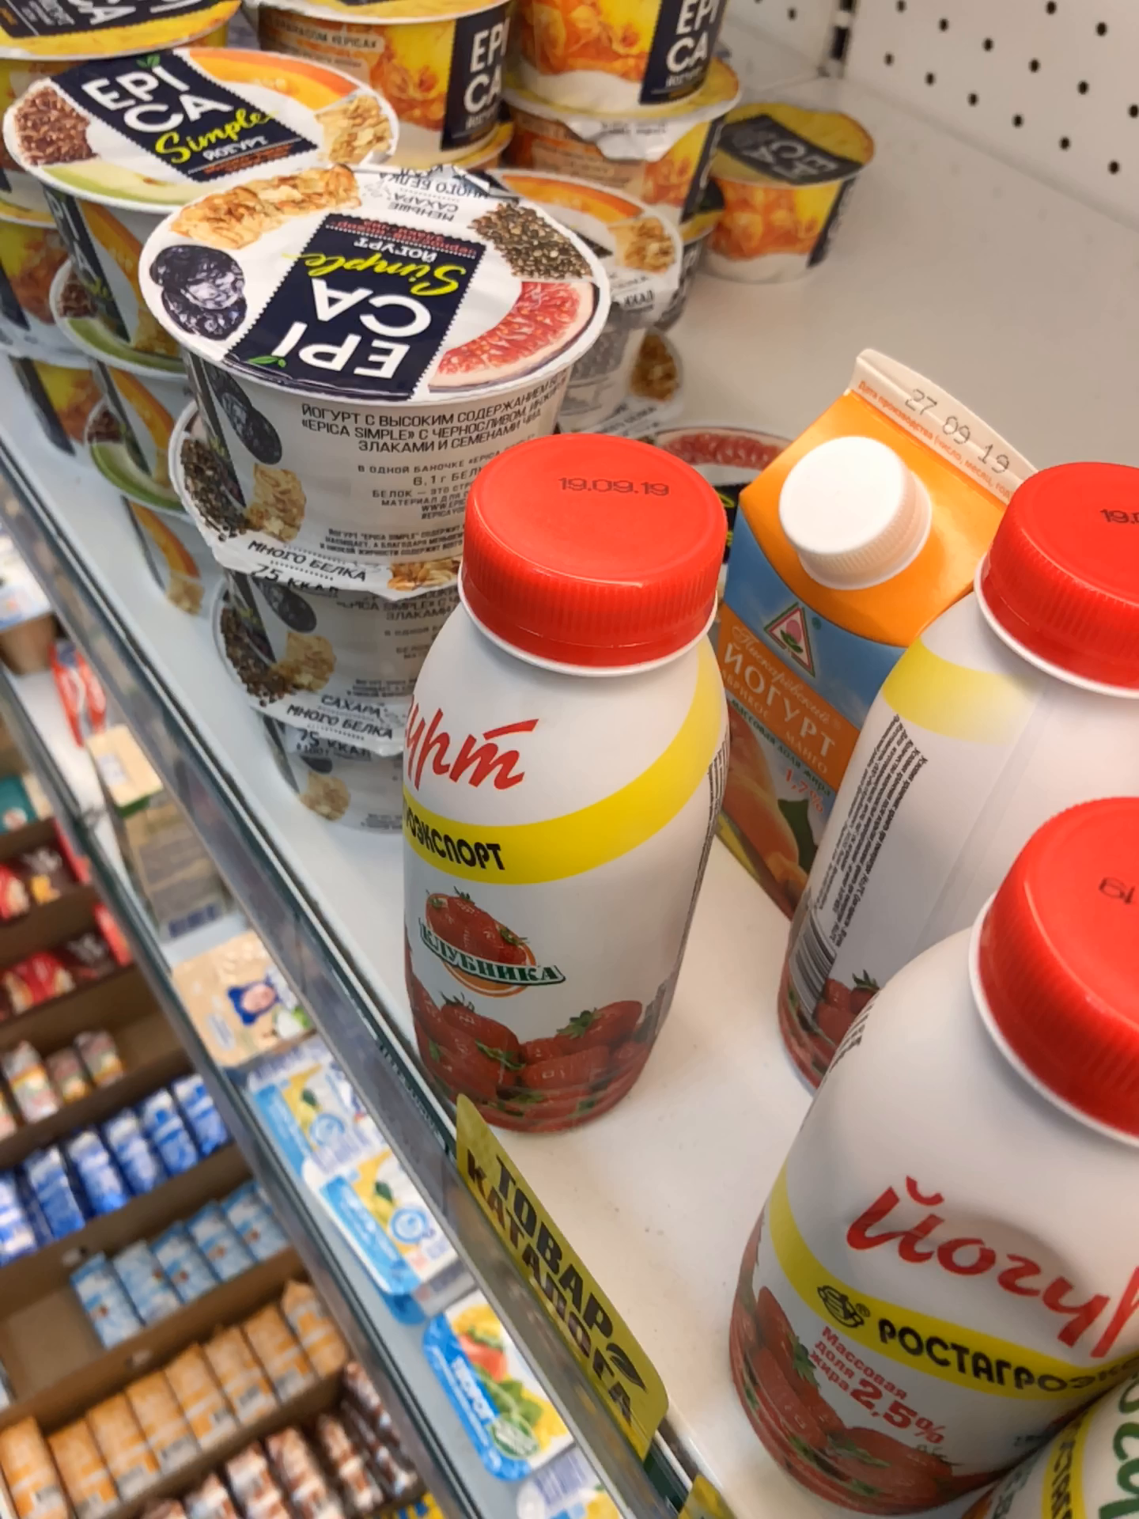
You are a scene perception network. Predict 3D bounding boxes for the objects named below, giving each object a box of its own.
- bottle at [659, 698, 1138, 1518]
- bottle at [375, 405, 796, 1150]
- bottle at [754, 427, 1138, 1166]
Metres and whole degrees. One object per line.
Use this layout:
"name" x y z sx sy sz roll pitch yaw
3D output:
"bottle" 0.061 0.071 0.196 0.058 0.146 0.057 2 48 -3
"bottle" -0.004 0.013 0.243 0.056 0.146 0.058 2 48 -3
"bottle" 0.074 0.017 0.245 0.052 0.146 0.055 2 48 -3
